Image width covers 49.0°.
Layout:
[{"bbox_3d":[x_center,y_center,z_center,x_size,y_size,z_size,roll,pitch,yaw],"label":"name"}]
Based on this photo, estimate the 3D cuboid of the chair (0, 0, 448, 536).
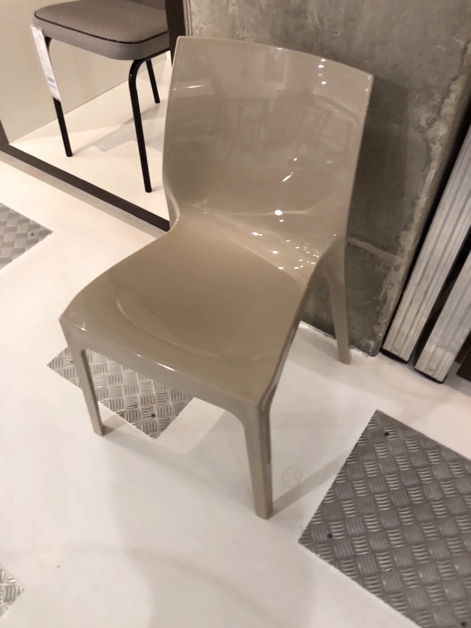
[{"bbox_3d":[-0.024,-0.066,1.079,0.551,0.824,0.563,22,52,18],"label":"chair"}]
